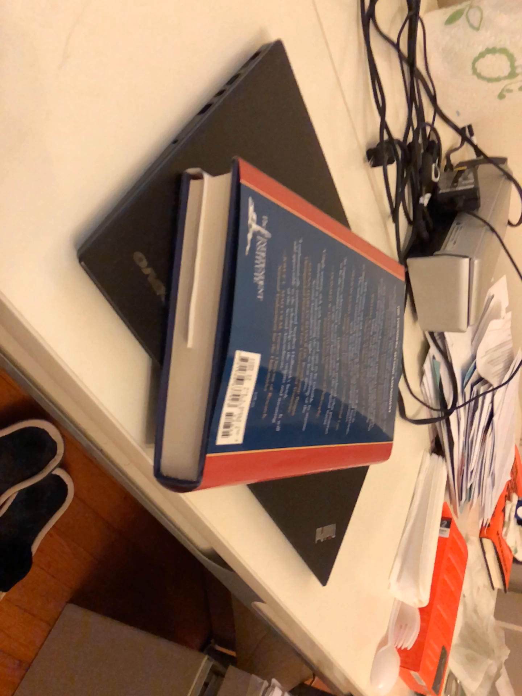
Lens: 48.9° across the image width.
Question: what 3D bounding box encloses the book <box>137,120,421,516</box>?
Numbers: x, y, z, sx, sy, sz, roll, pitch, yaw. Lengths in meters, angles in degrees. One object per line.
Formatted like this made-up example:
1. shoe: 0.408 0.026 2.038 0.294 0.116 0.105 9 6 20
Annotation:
1. book: 0.035 -0.002 0.353 0.241 0.040 0.170 11 81 -54
